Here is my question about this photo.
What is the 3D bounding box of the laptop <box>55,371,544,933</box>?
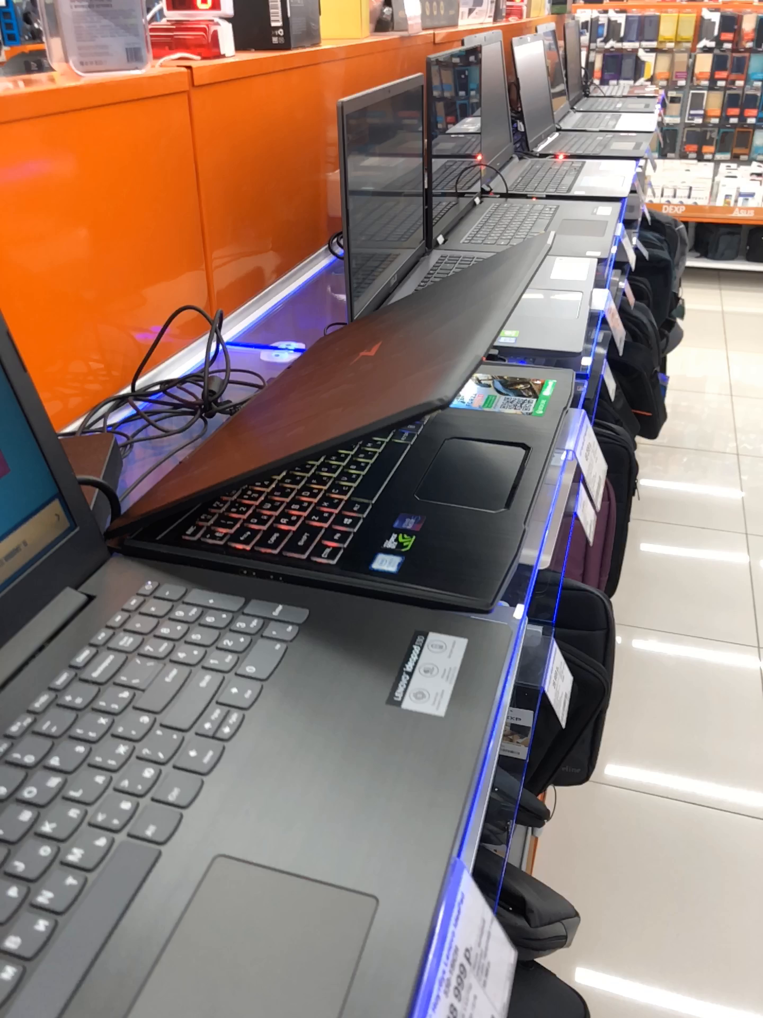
[{"bbox_3d":[-0.029,0.086,0.766,0.286,0.256,0.396,9,32,14],"label":"laptop"}]

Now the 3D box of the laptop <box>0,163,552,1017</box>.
[{"bbox_3d":[-0.137,0.029,0.287,0.318,0.228,0.360,8,30,14],"label":"laptop"}]

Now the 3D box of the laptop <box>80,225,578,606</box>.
[{"bbox_3d":[0.000,-0.104,0.619,0.243,0.121,0.366,9,31,14],"label":"laptop"}]

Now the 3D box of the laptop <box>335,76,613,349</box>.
[{"bbox_3d":[0.122,-0.350,0.943,0.230,0.216,0.354,7,32,11],"label":"laptop"}]

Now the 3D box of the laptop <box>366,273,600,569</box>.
[{"bbox_3d":[0.149,-0.140,1.140,0.229,0.240,0.361,9,33,15],"label":"laptop"}]

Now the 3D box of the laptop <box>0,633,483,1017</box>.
[{"bbox_3d":[-0.132,0.309,0.384,0.272,0.270,0.408,8,31,15],"label":"laptop"}]
